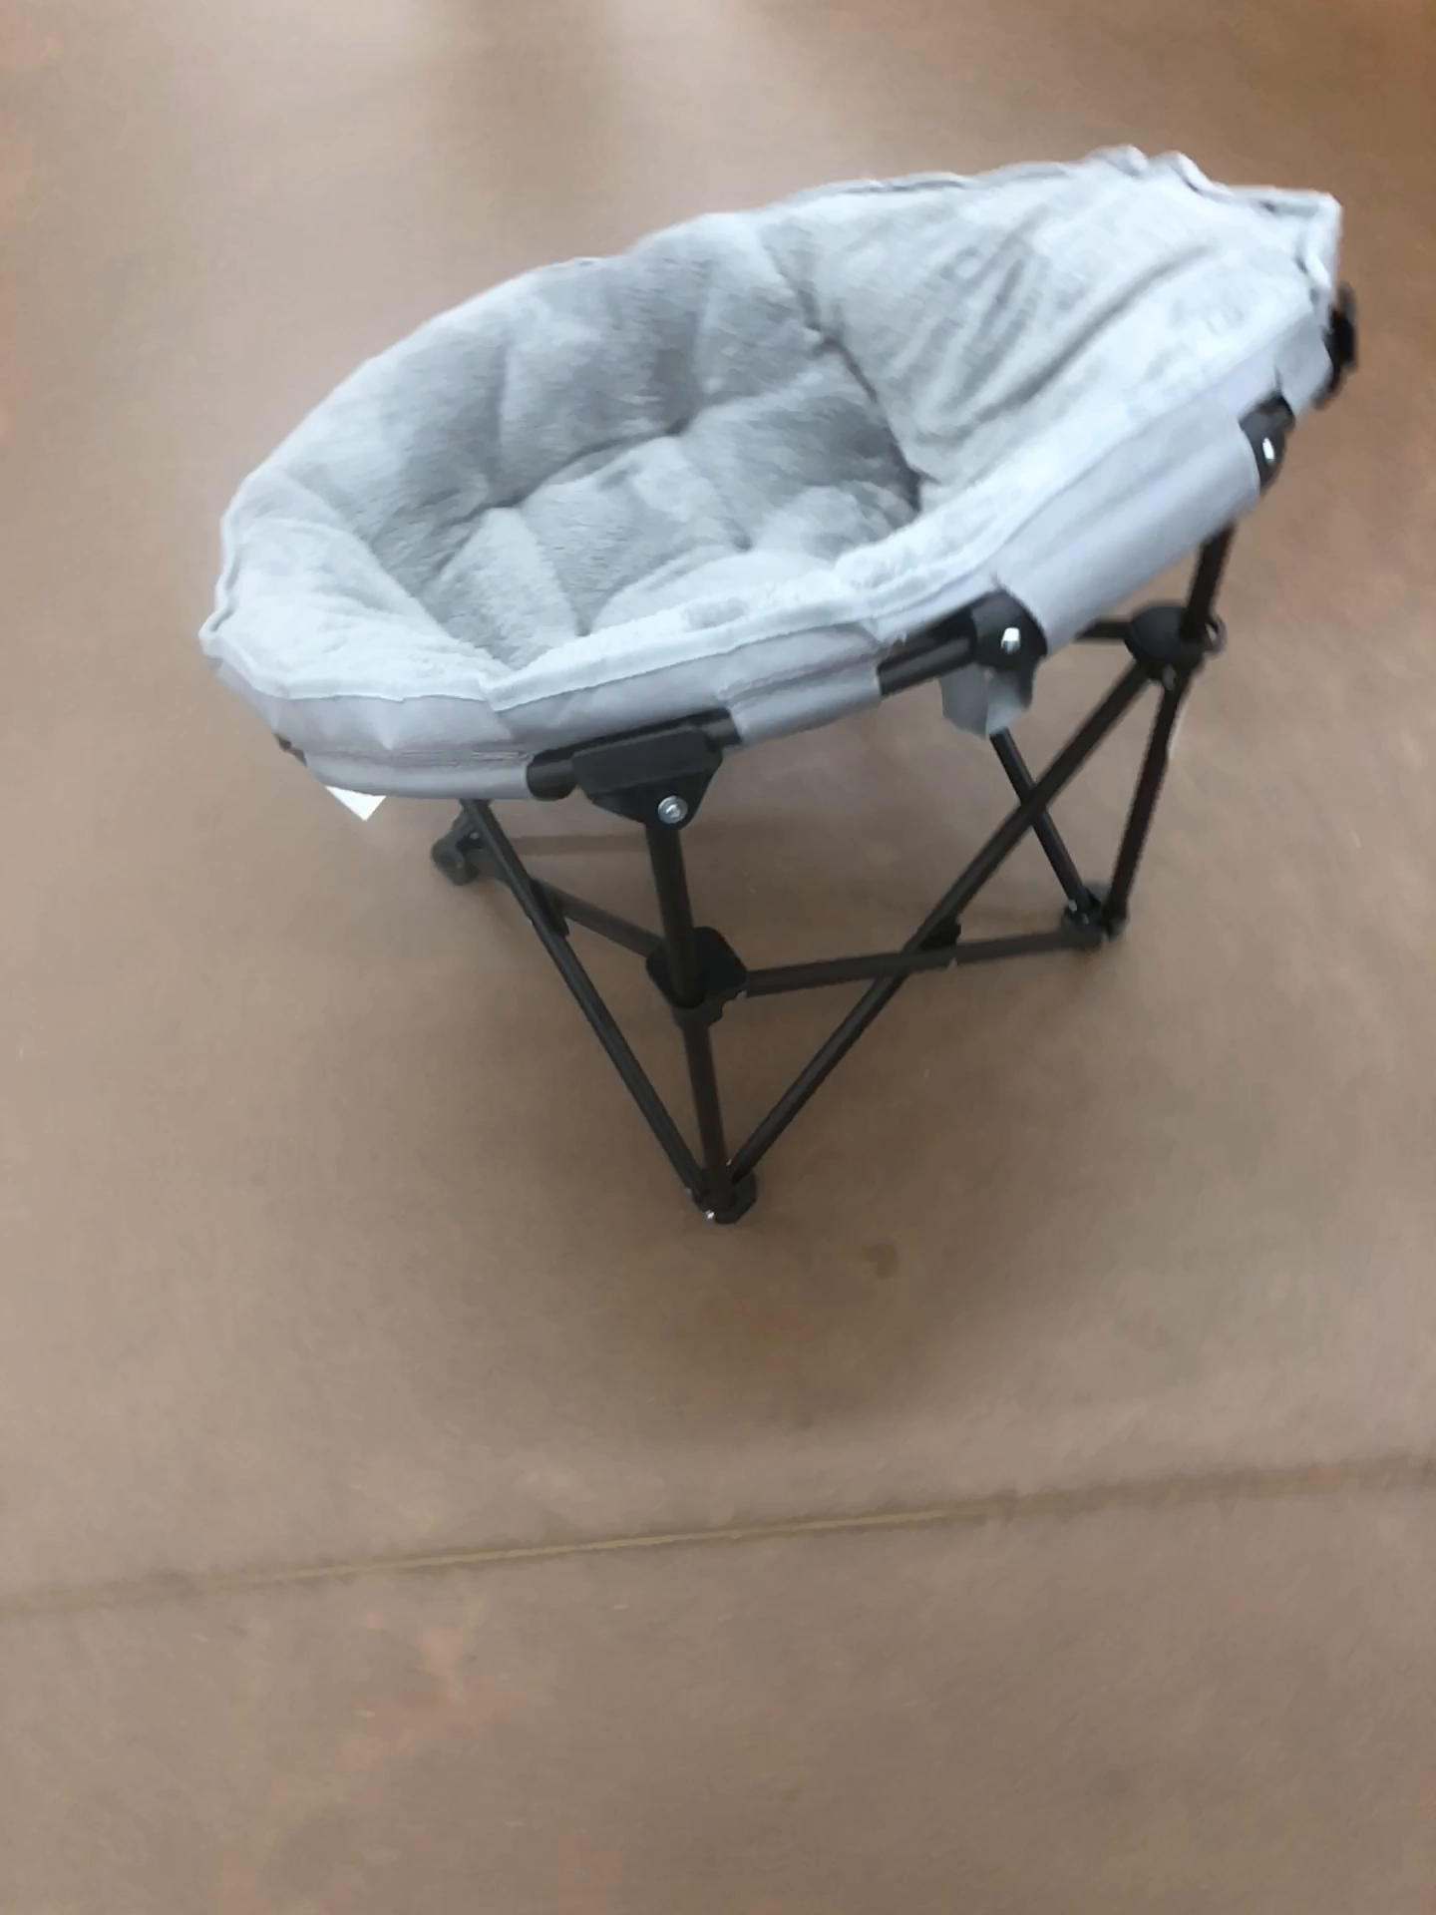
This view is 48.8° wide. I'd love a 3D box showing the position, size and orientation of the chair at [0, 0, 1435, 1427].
[{"bbox_3d":[-0.035,-0.225,0.920,0.570,0.529,0.631,-36,64,-17],"label":"chair"}]
